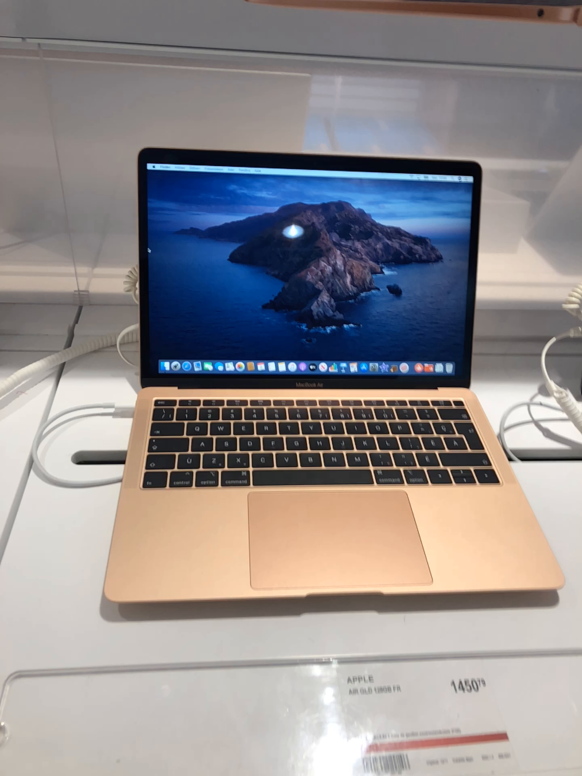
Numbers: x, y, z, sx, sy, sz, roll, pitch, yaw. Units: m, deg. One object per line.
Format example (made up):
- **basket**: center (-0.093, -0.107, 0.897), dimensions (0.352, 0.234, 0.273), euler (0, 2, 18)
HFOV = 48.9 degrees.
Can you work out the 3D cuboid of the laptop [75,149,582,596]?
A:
- **laptop**: center (0.027, -0.033, 0.479), dimensions (0.291, 0.170, 0.305), euler (0, 39, -6)
